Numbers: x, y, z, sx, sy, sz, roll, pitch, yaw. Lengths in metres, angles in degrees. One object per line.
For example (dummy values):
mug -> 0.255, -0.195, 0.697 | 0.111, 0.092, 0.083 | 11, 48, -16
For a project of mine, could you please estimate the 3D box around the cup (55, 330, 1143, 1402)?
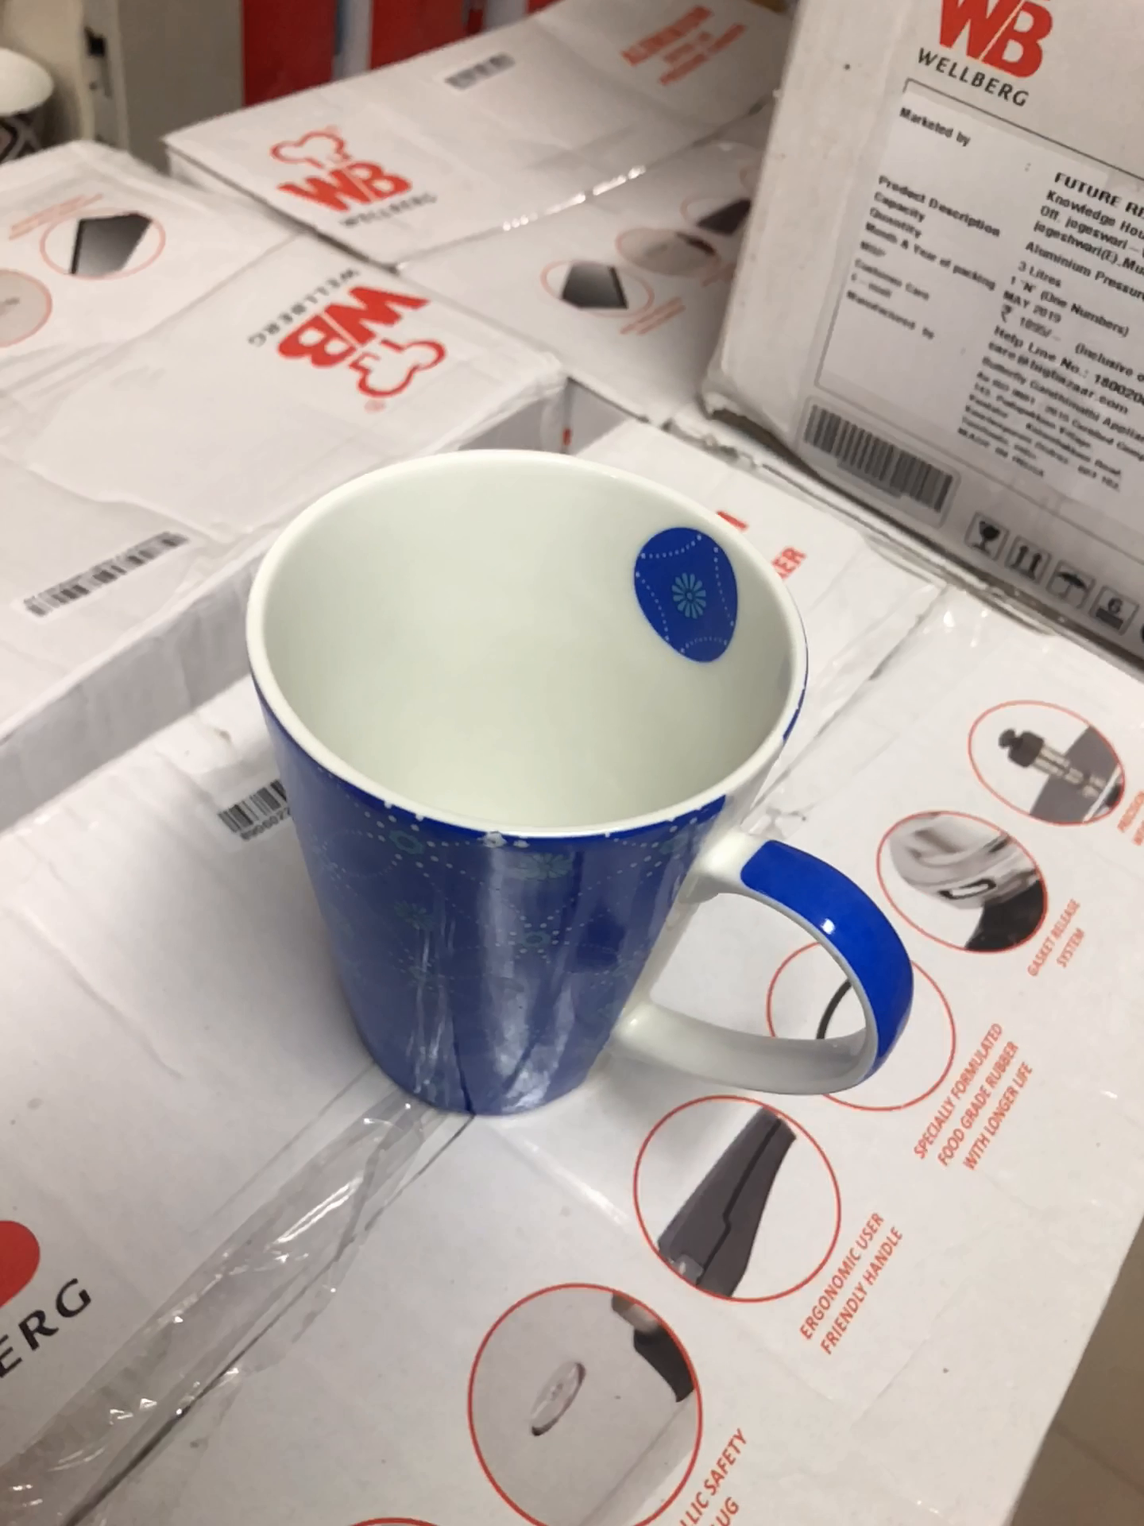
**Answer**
cup -> -0.001, 0.013, 0.201 | 0.120, 0.089, 0.080 | 34, 52, 16
